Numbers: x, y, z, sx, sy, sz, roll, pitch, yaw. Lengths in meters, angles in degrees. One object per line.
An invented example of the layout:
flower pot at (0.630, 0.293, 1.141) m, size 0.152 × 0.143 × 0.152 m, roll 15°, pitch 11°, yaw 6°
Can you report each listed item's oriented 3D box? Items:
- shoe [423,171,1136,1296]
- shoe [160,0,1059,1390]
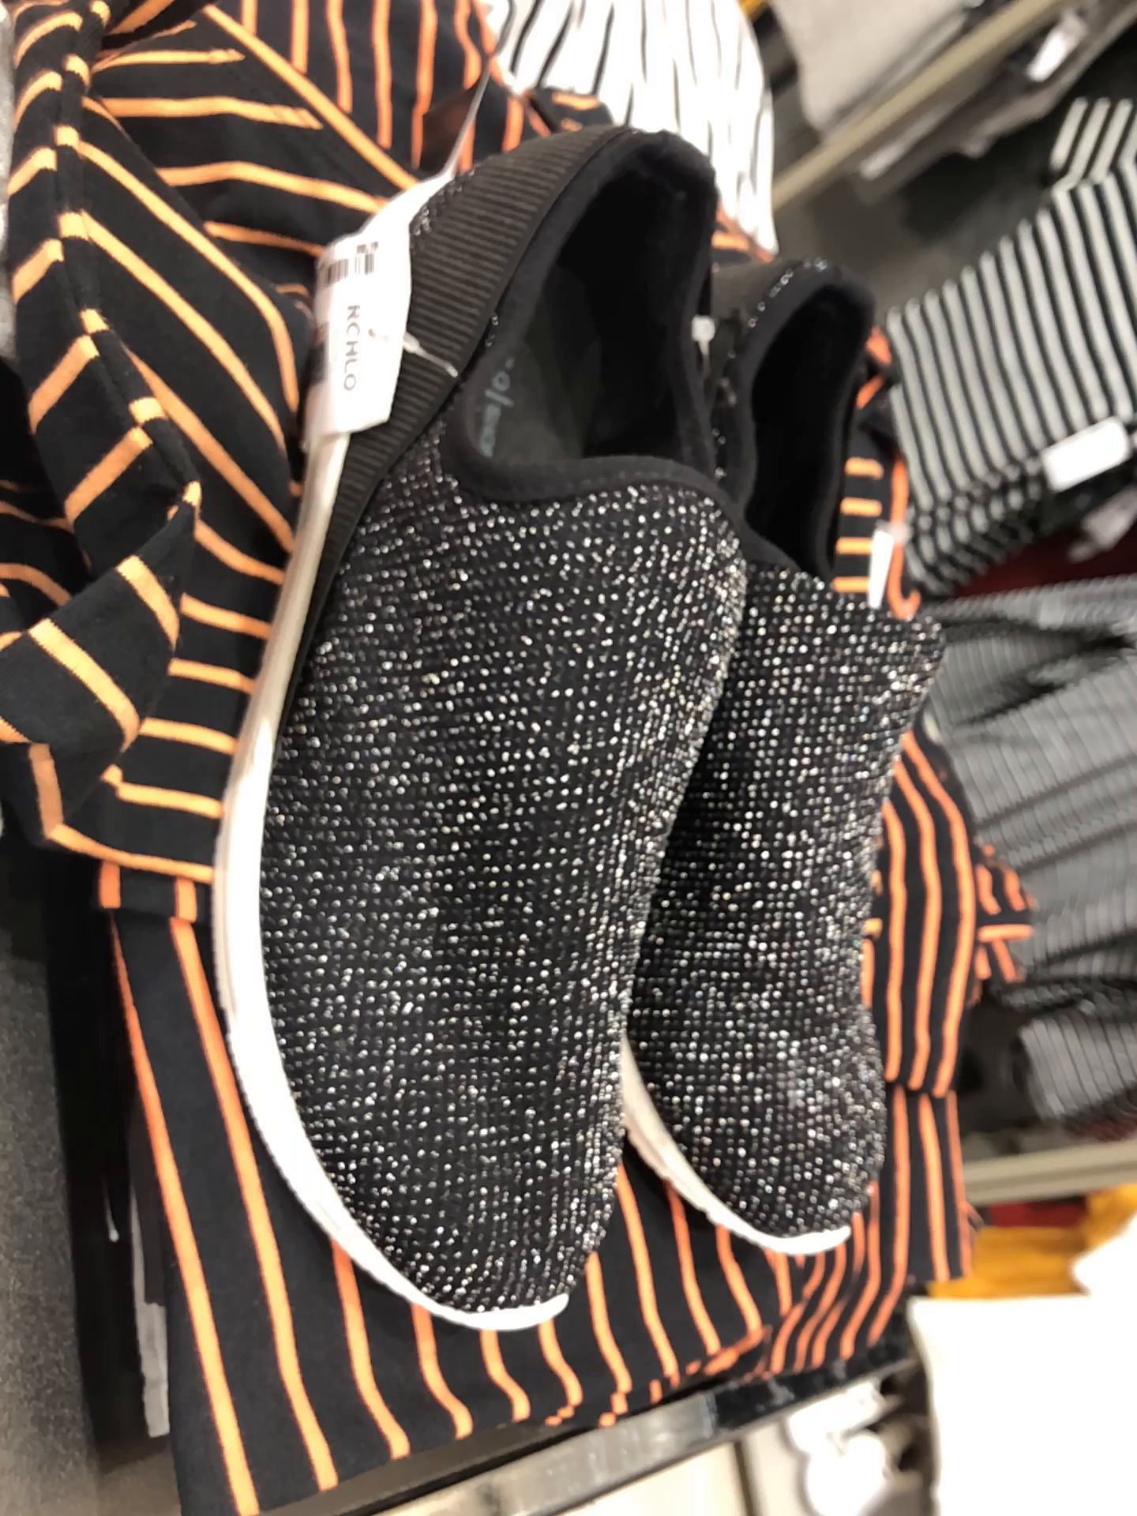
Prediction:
shoe at (0.053, -0.001, 0.334) m, size 0.101 × 0.109 × 0.240 m, roll 6°, pitch 67°, yaw -46°
shoe at (-0.004, -0.012, 0.266) m, size 0.101 × 0.109 × 0.240 m, roll 9°, pitch 65°, yaw -45°
